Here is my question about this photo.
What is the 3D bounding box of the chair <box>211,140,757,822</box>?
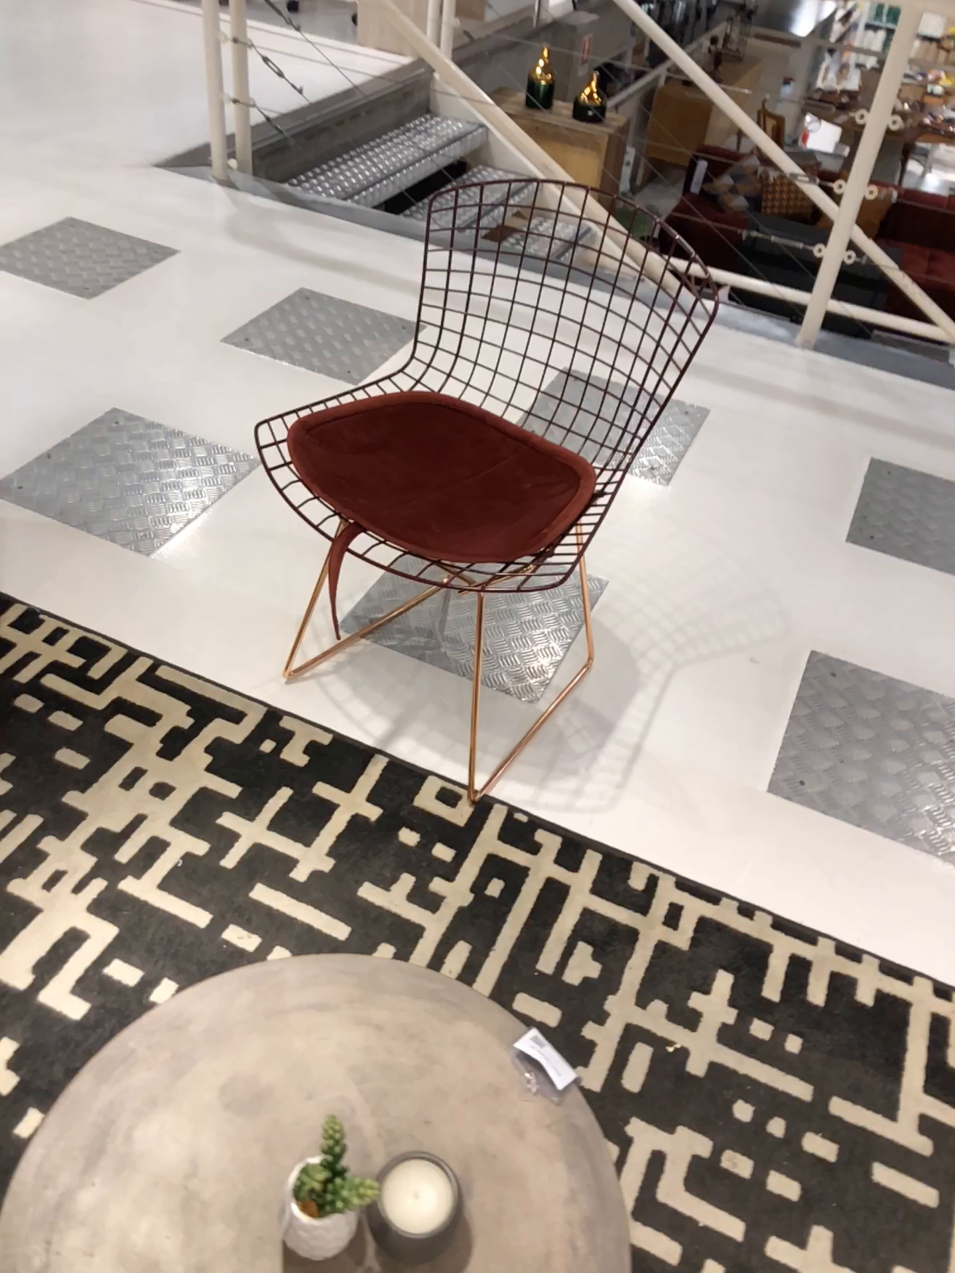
[{"bbox_3d":[-0.017,-0.244,1.602,0.511,0.764,0.503,31,46,25],"label":"chair"}]
